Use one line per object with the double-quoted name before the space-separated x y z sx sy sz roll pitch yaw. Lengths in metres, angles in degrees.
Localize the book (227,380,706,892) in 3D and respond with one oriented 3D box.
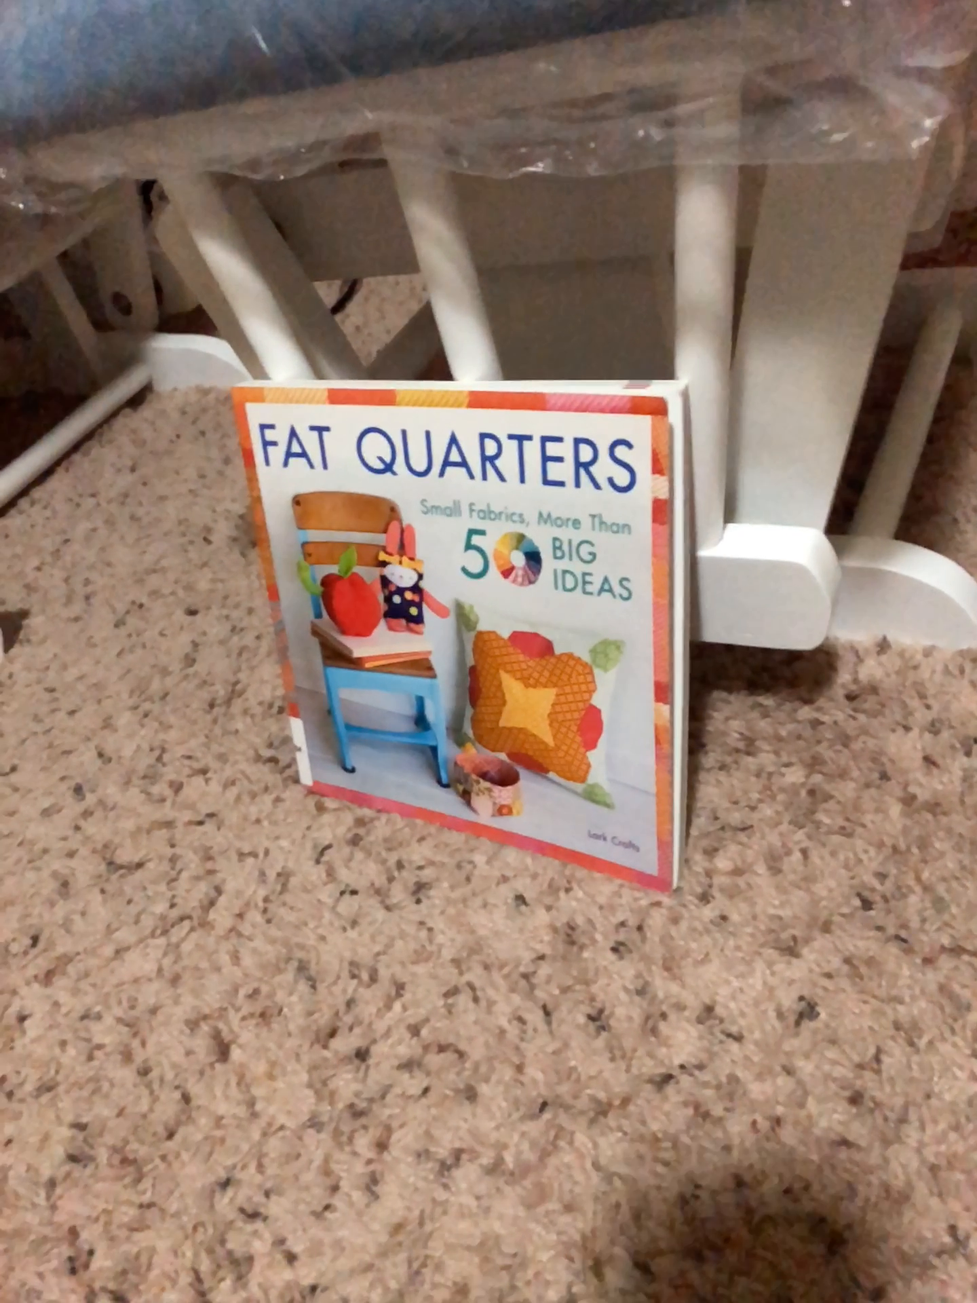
"book" -0.012 -0.014 0.460 0.208 0.193 0.030 10 26 33
